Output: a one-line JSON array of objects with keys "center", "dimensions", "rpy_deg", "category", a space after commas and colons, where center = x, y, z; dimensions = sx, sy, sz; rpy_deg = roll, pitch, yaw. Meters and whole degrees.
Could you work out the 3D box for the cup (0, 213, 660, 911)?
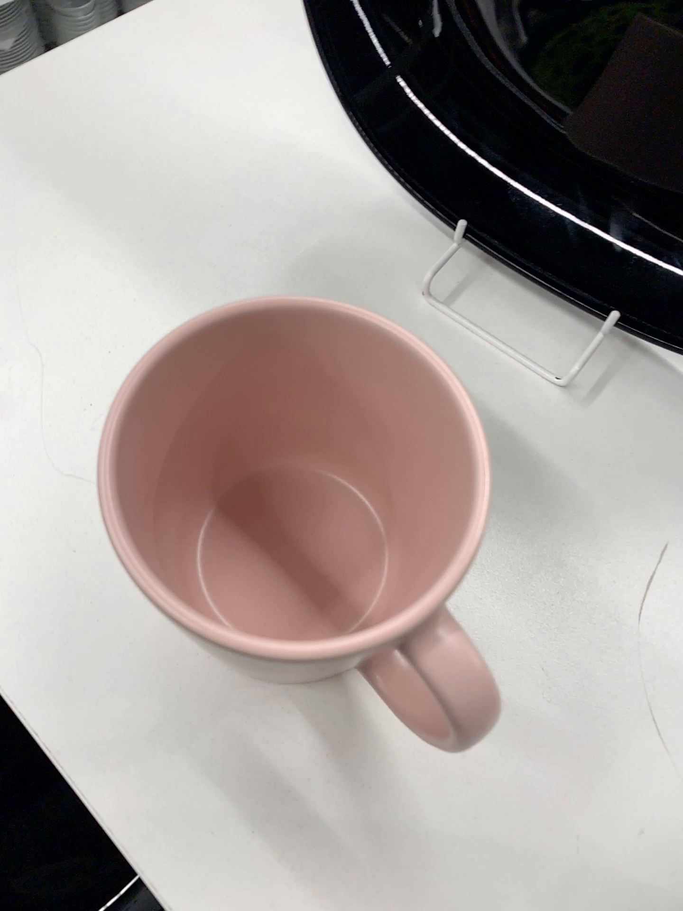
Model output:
[{"center": [-0.011, 0.023, 0.182], "dimensions": [0.090, 0.080, 0.120], "rpy_deg": [-33, 73, -20], "category": "cup"}]
